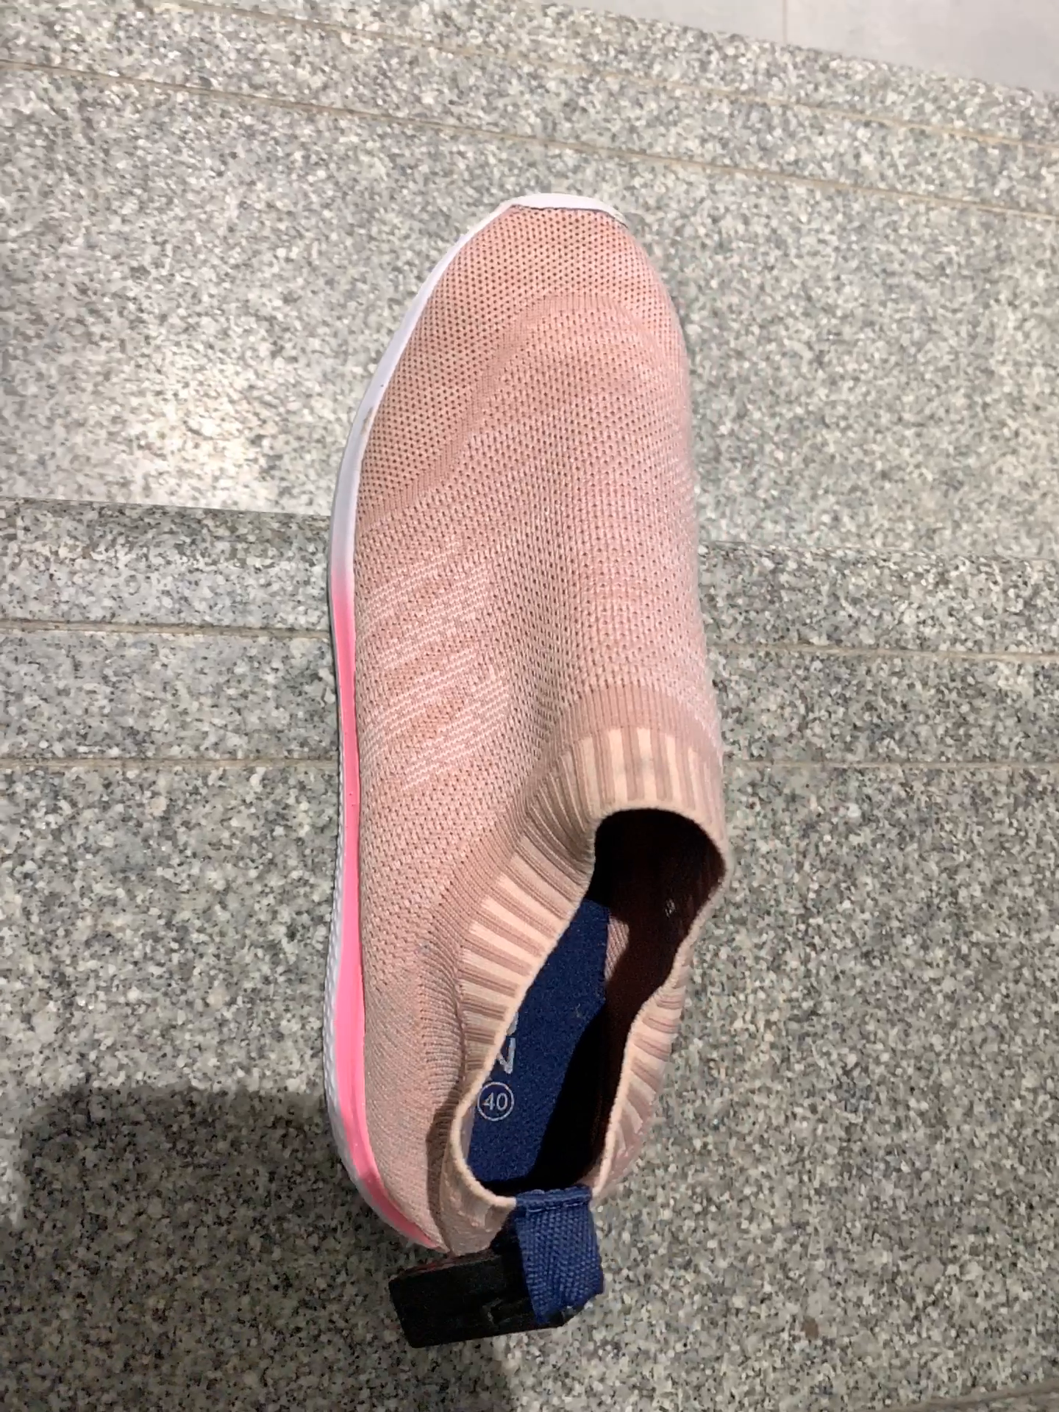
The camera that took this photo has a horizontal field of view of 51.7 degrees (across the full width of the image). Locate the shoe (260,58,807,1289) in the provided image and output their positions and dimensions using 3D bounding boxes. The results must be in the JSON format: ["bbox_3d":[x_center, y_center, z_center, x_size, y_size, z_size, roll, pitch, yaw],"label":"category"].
[{"bbox_3d":[-0.004,-0.004,0.271,0.100,0.080,0.250,5,87,-14],"label":"shoe"}]
